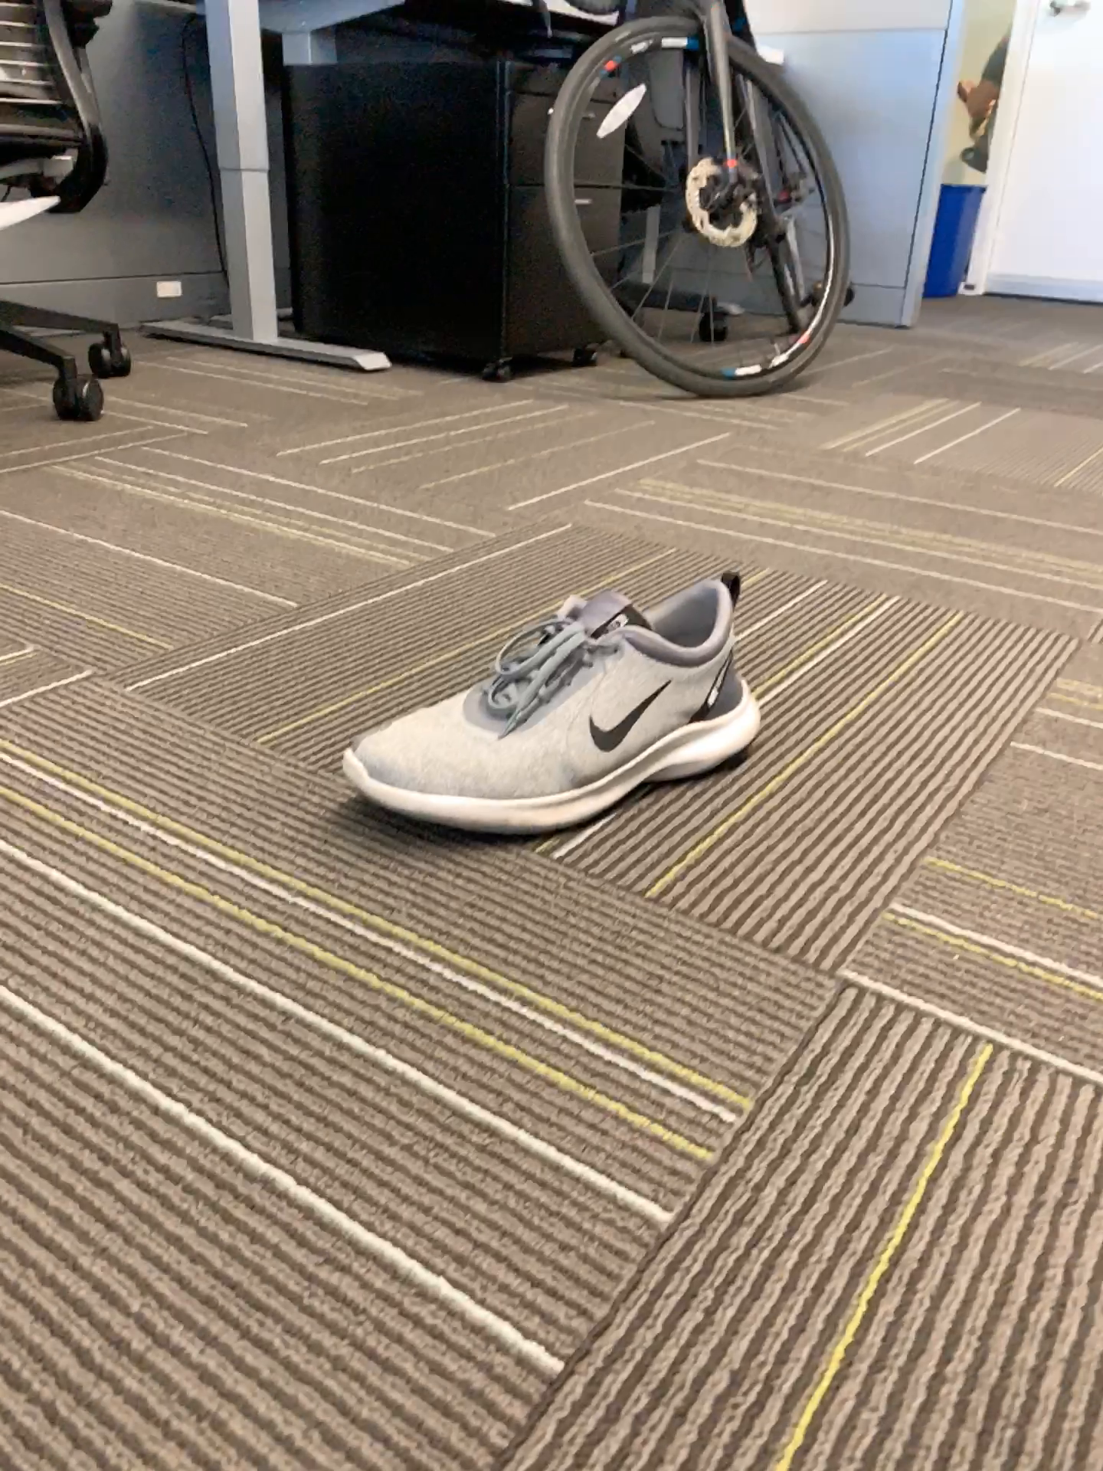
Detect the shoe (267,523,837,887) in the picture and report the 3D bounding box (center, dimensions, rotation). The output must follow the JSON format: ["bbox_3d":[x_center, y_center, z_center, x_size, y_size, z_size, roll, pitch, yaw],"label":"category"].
[{"bbox_3d":[0.008,-0.040,0.733,0.331,0.109,0.161,-18,33,-35],"label":"shoe"}]
